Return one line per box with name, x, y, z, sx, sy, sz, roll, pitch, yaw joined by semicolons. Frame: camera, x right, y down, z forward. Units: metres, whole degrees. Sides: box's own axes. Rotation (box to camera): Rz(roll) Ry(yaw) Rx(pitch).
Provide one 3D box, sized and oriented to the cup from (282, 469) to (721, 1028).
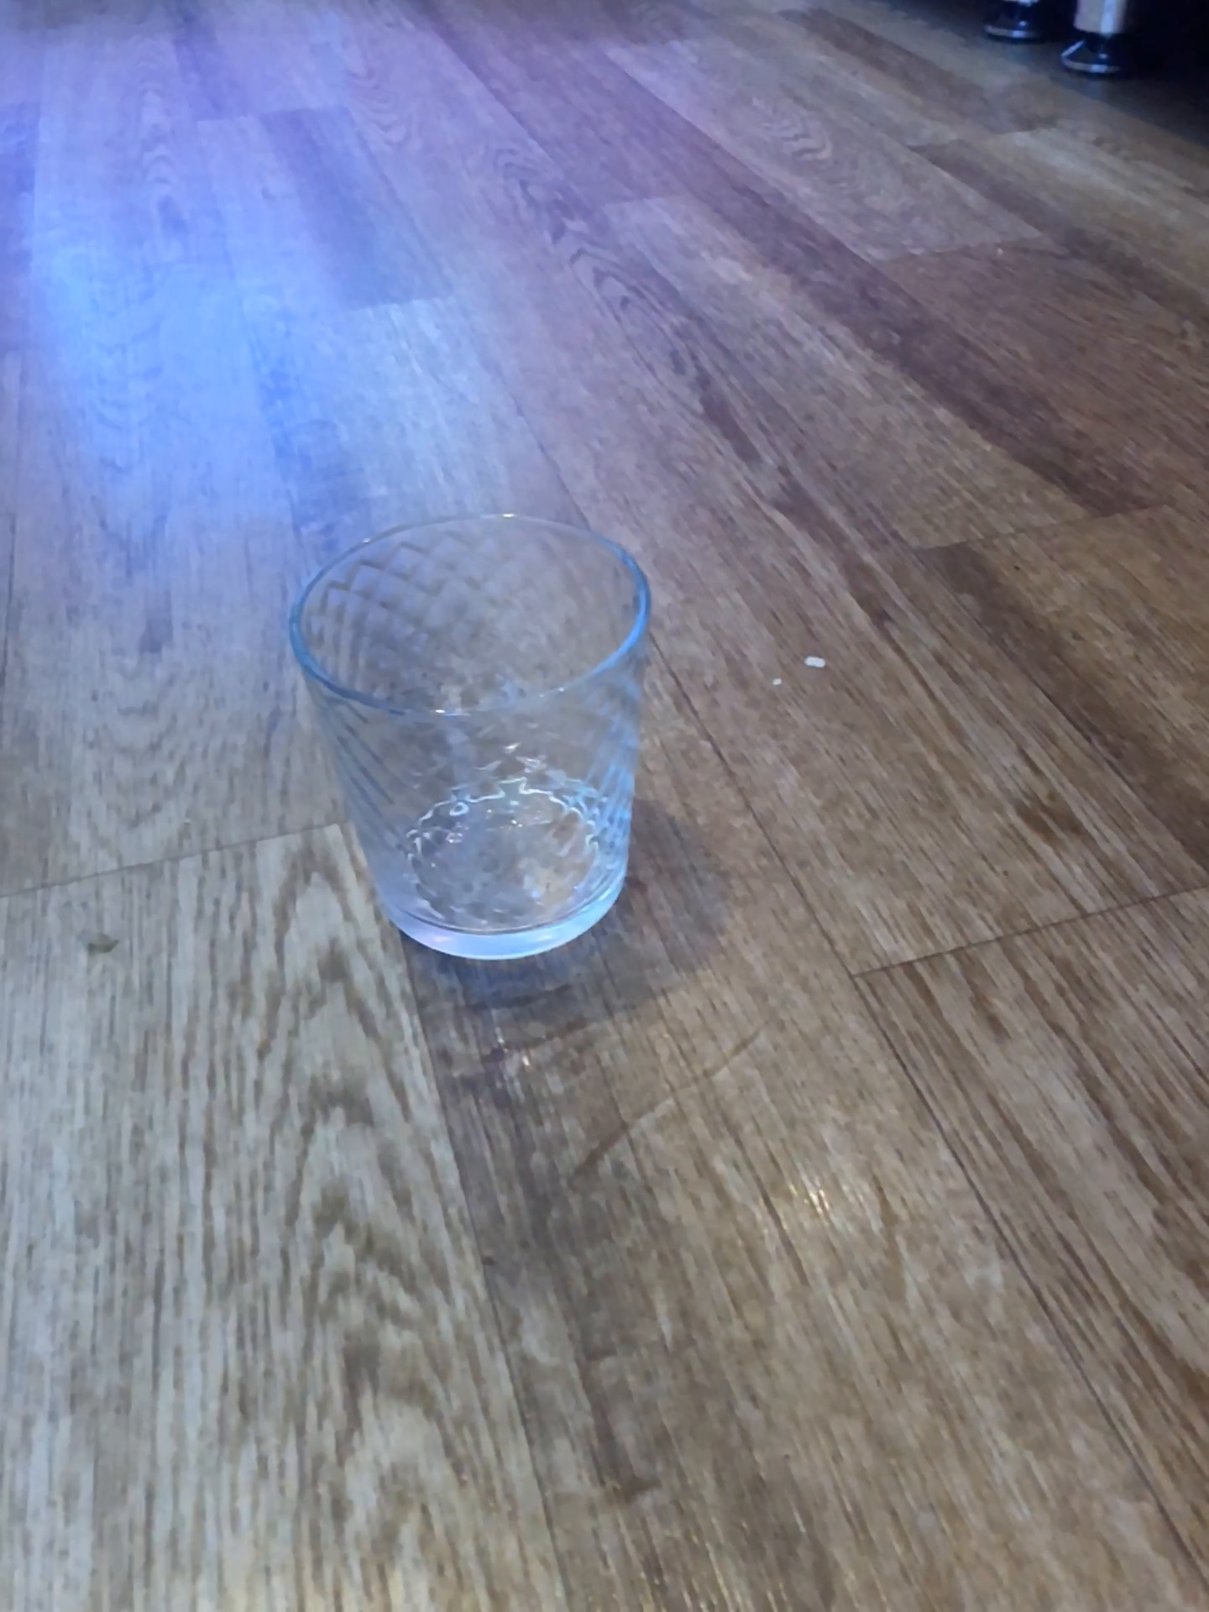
cup;-0.024;-0.015;0.321;0.080;0.090;0.080;-2;42;1
